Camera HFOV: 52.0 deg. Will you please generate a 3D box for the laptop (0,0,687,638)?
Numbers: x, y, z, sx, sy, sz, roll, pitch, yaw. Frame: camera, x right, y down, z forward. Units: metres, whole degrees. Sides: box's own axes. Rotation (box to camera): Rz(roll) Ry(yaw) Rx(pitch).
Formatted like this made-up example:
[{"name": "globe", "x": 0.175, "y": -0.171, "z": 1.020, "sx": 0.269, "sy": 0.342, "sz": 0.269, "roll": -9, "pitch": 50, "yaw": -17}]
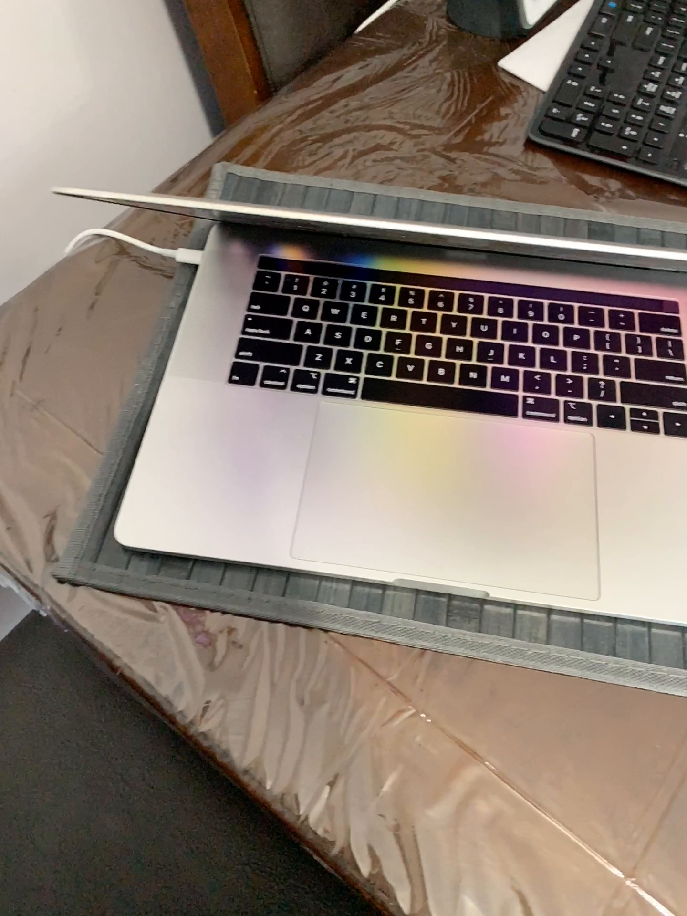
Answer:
[{"name": "laptop", "x": 0.065, "y": -0.076, "z": 0.341, "sx": 0.342, "sy": 0.166, "sz": 0.233, "roll": 7, "pitch": 62, "yaw": 4}]
